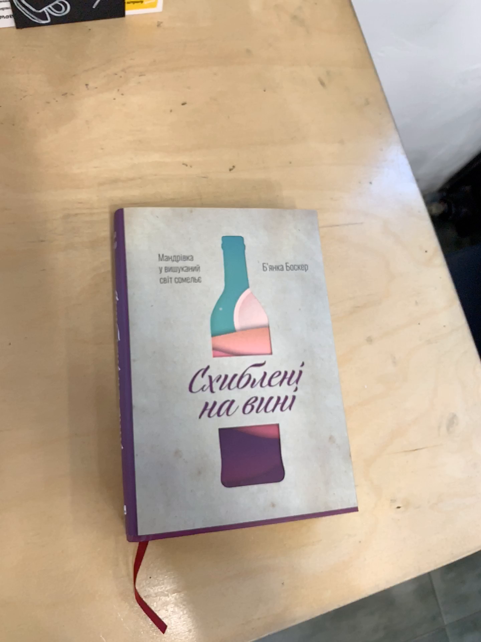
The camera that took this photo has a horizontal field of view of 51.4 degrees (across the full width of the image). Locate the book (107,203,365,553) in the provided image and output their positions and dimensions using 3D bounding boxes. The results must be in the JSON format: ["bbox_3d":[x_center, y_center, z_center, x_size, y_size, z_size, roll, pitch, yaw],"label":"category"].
[{"bbox_3d":[-0.010,0.029,0.345,0.150,0.050,0.214,-2,76,-14],"label":"book"}]
